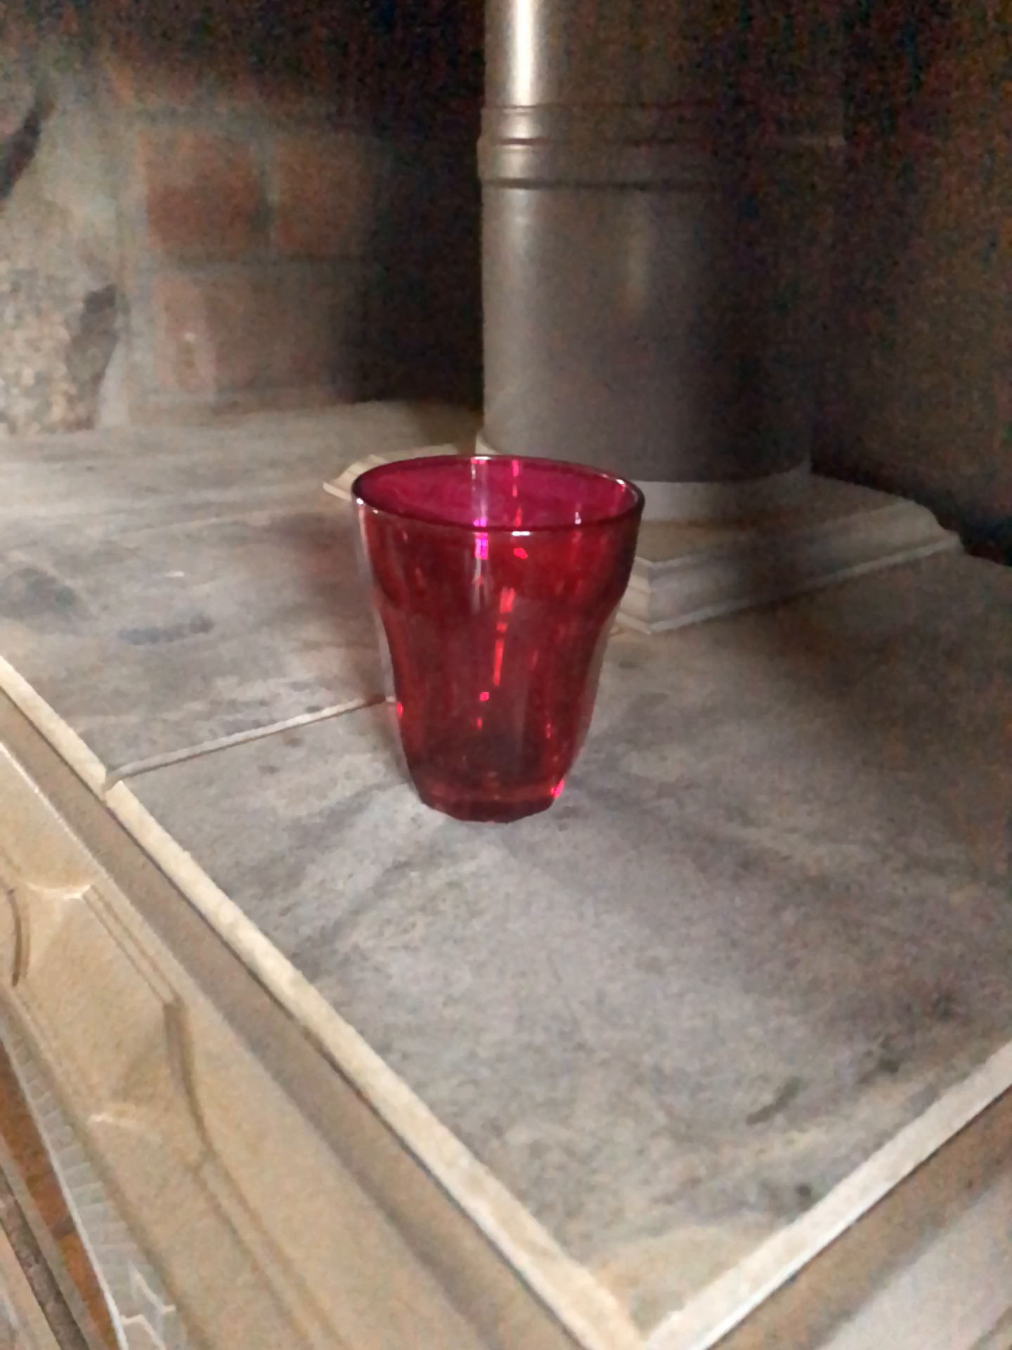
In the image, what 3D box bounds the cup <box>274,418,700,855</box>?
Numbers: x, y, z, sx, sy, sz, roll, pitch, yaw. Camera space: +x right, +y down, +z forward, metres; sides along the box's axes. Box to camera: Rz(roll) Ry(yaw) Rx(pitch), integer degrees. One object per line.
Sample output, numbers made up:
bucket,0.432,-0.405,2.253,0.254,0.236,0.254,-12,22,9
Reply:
cup,-0.004,-0.017,0.291,0.070,0.080,0.080,19,28,34
